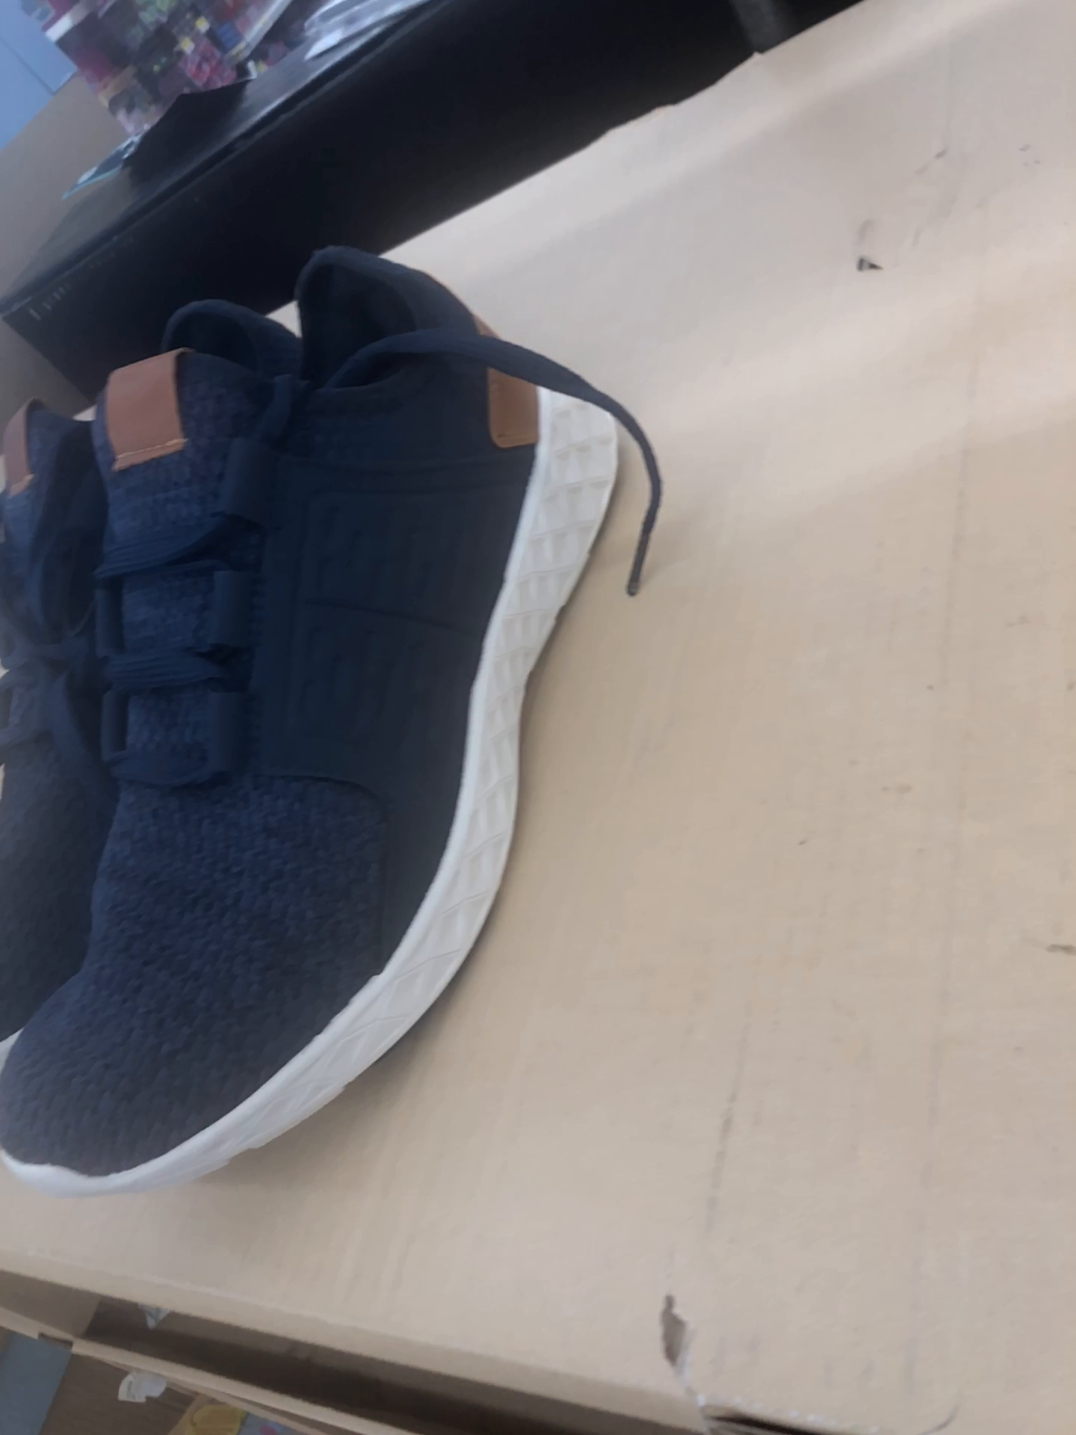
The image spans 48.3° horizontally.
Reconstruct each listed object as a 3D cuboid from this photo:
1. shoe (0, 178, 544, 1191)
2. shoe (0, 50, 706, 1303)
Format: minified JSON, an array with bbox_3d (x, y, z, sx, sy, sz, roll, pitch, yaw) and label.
[{"bbox_3d":[-0.133,-0.021,0.404,0.110,0.129,0.290,0,53,43],"label":"shoe"},{"bbox_3d":[-0.067,-0.026,0.322,0.110,0.119,0.290,-7,48,39],"label":"shoe"}]
